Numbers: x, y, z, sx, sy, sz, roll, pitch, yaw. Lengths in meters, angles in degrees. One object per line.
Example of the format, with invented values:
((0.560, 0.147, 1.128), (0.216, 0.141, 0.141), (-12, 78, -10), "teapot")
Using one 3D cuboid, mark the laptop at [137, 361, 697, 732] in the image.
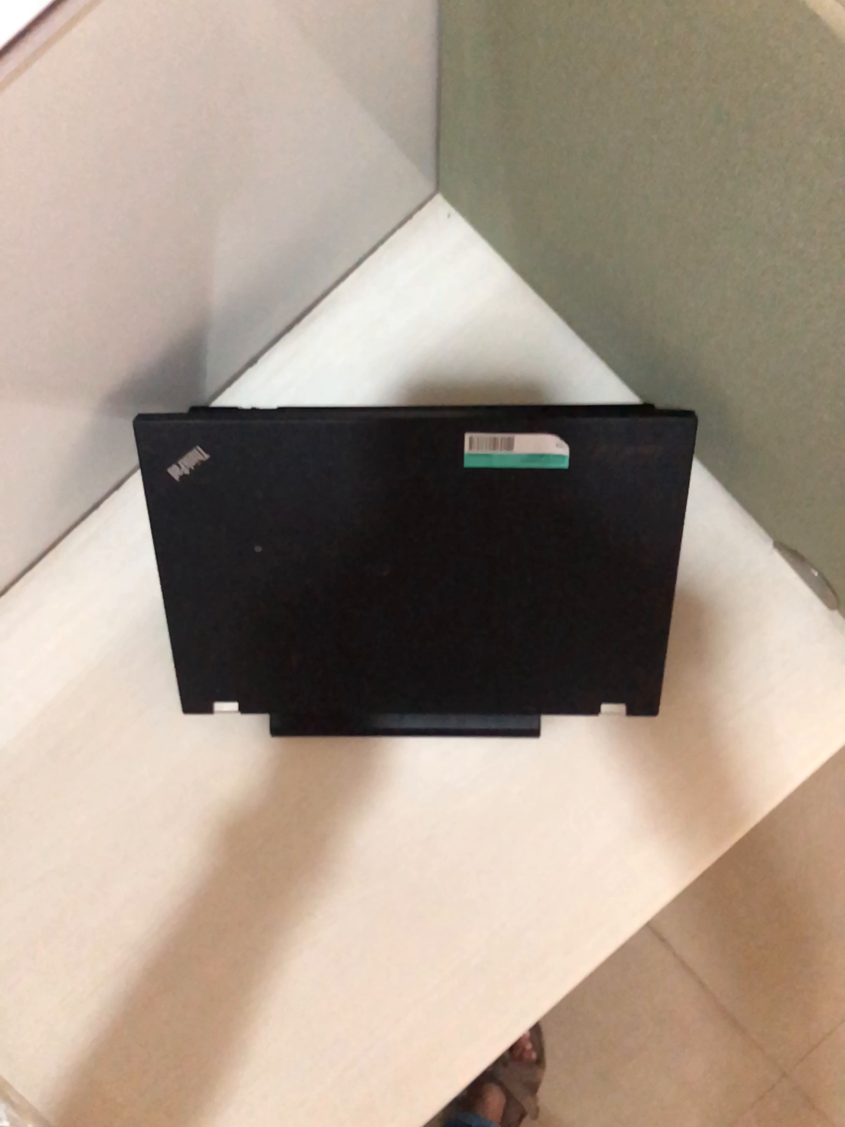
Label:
((-0.005, -0.009, 0.663), (0.354, 0.140, 0.232), (0, 90, 3), "laptop")
